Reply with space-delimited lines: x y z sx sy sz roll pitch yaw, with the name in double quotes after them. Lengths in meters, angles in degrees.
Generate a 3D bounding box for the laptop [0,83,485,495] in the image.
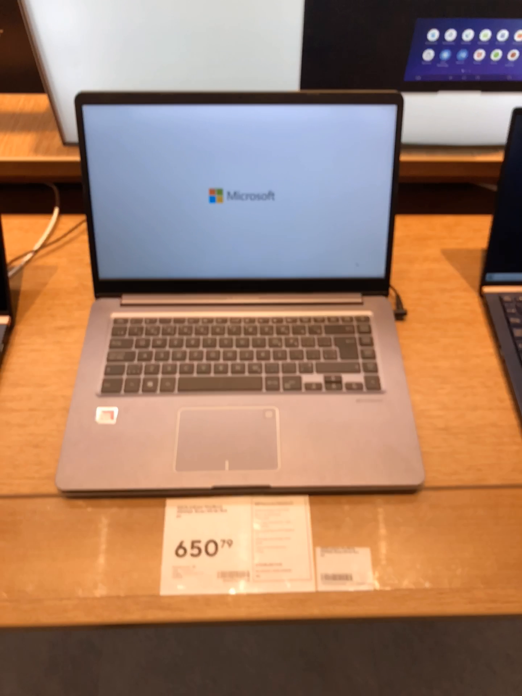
-0.022 -0.076 0.594 0.352 0.177 0.391 -1 55 -1 "laptop"
